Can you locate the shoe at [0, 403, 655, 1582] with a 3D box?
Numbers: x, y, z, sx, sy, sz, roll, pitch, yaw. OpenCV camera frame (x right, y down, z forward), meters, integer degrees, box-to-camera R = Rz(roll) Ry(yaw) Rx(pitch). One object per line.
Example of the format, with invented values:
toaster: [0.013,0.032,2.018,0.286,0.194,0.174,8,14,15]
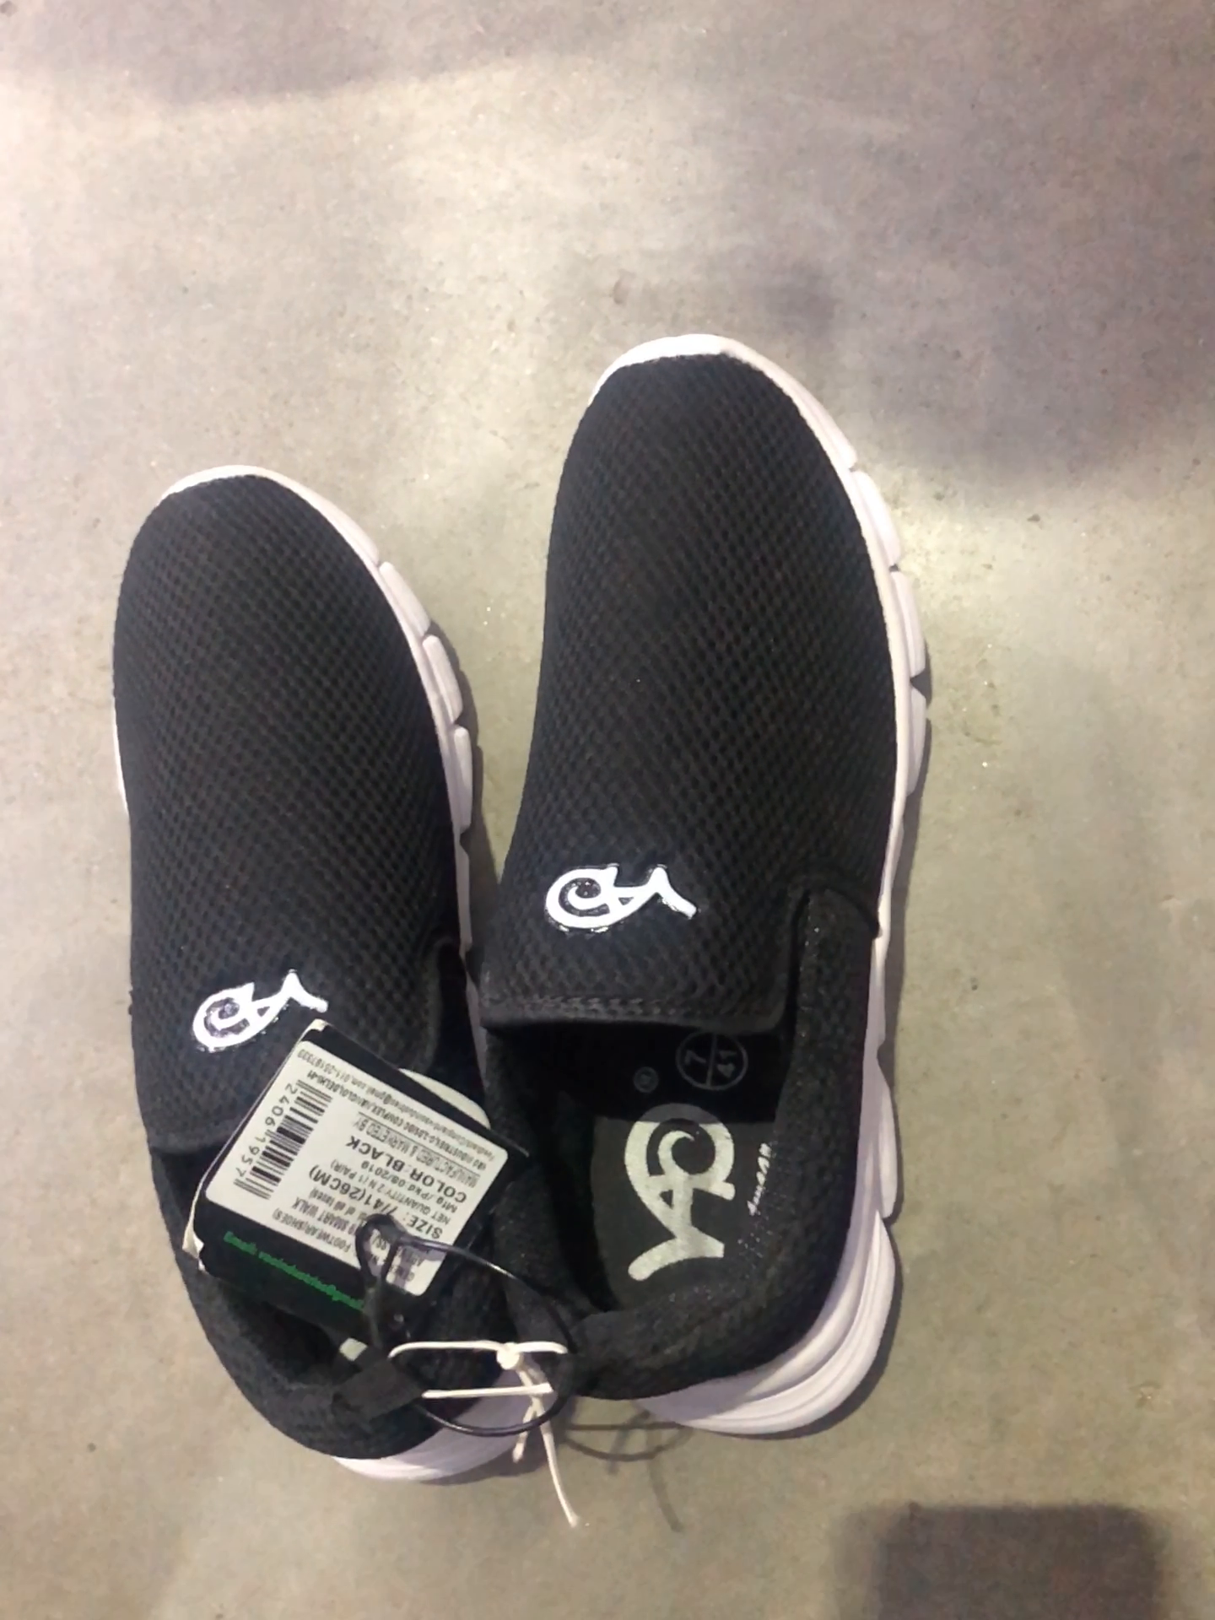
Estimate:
shoe: [-0.082,0.043,0.371,0.110,0.100,0.260,-17,80,9]

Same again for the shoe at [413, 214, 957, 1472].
shoe: [0.025,0.007,0.353,0.110,0.100,0.270,-3,81,20]
